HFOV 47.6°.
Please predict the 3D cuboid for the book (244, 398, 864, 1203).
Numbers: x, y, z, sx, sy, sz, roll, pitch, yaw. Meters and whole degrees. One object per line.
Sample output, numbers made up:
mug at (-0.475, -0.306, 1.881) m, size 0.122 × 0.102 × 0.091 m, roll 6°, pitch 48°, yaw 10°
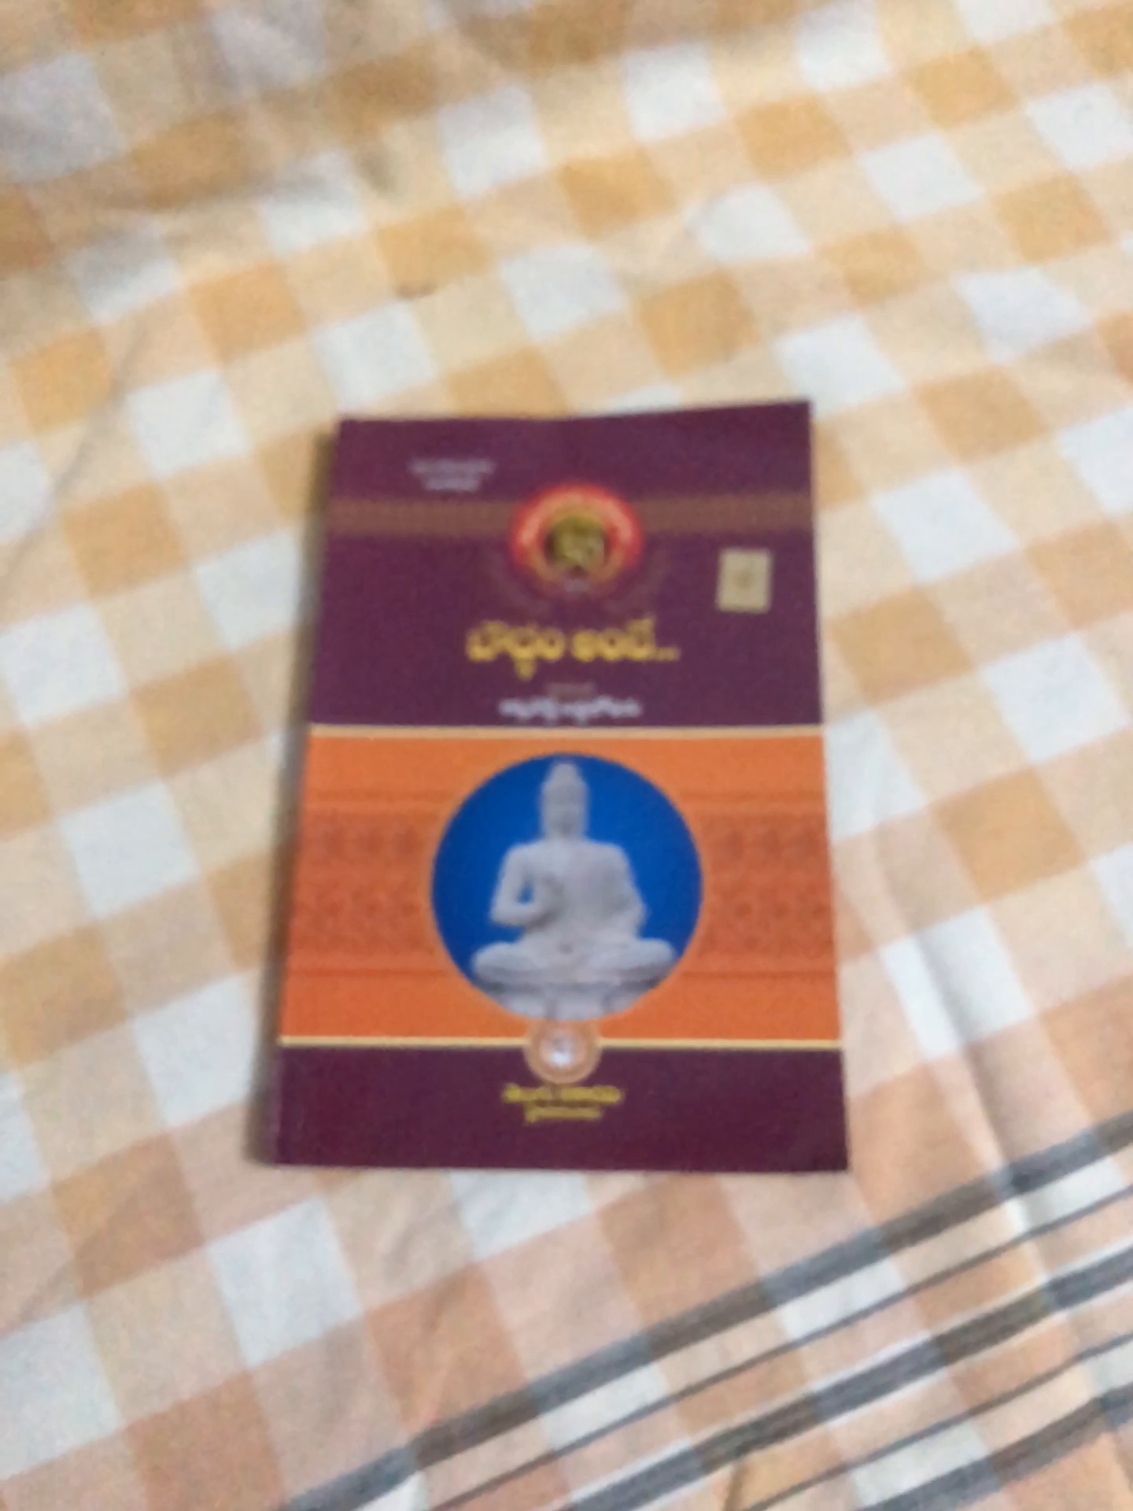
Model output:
book at (-0.001, 0.004, 0.381) m, size 0.160 × 0.020 × 0.240 m, roll 1°, pitch 71°, yaw 0°
